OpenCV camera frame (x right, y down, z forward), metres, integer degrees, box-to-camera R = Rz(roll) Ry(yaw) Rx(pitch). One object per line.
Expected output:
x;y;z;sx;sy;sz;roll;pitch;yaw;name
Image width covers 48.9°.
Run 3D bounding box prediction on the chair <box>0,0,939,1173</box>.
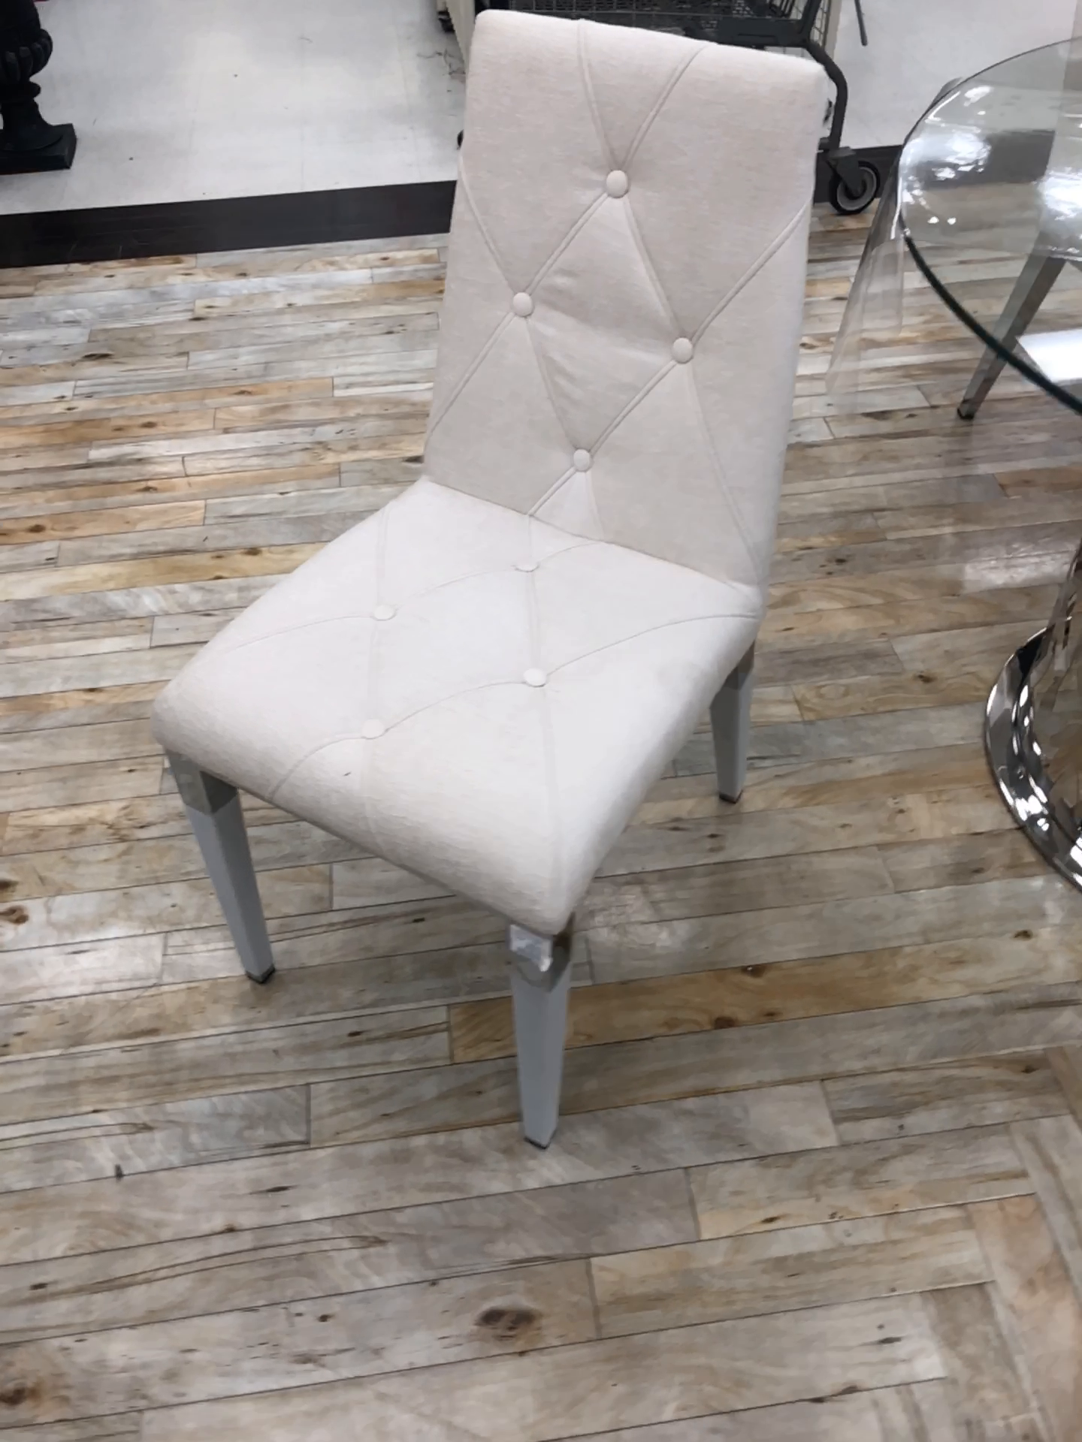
-0.042;-0.112;1.150;0.471;0.887;0.571;25;52;24;chair
